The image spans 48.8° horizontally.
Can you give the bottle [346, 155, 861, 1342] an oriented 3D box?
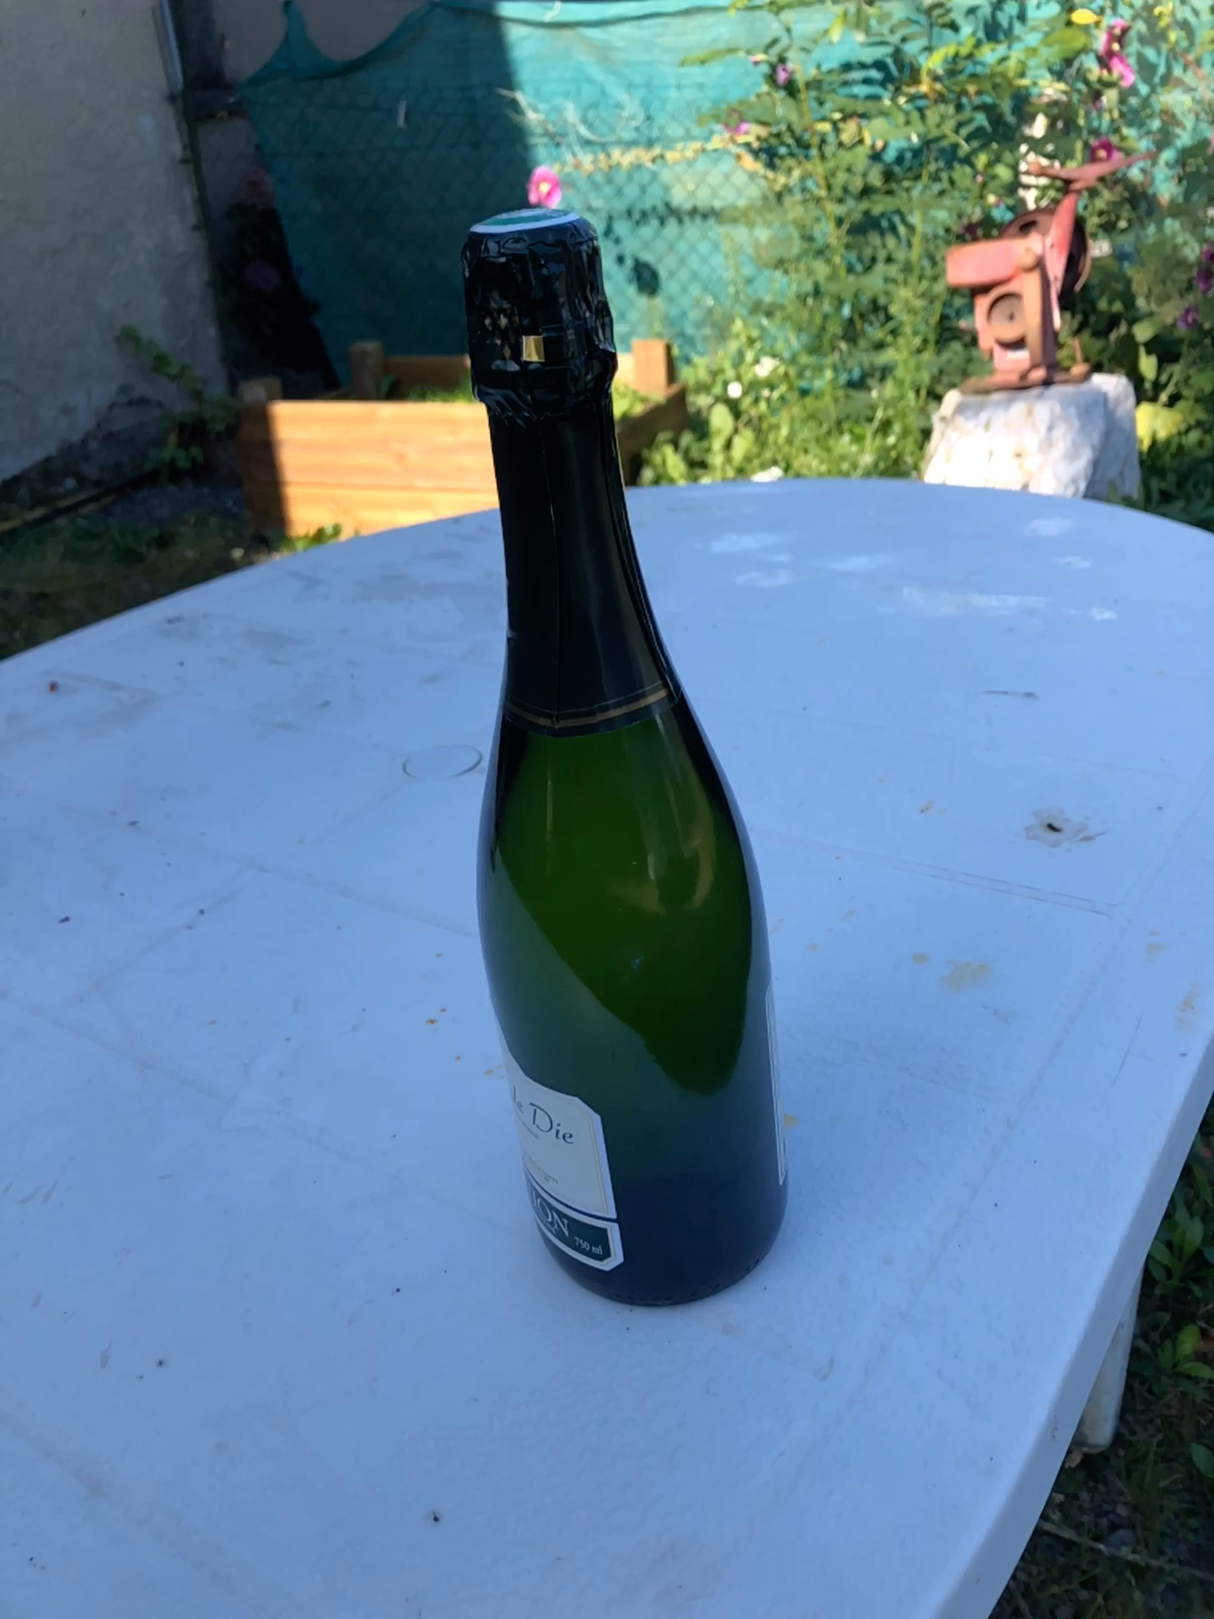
[{"bbox_3d":[0.006,-0.003,0.370,0.100,0.308,0.090,-8,29,-5],"label":"bottle"}]
